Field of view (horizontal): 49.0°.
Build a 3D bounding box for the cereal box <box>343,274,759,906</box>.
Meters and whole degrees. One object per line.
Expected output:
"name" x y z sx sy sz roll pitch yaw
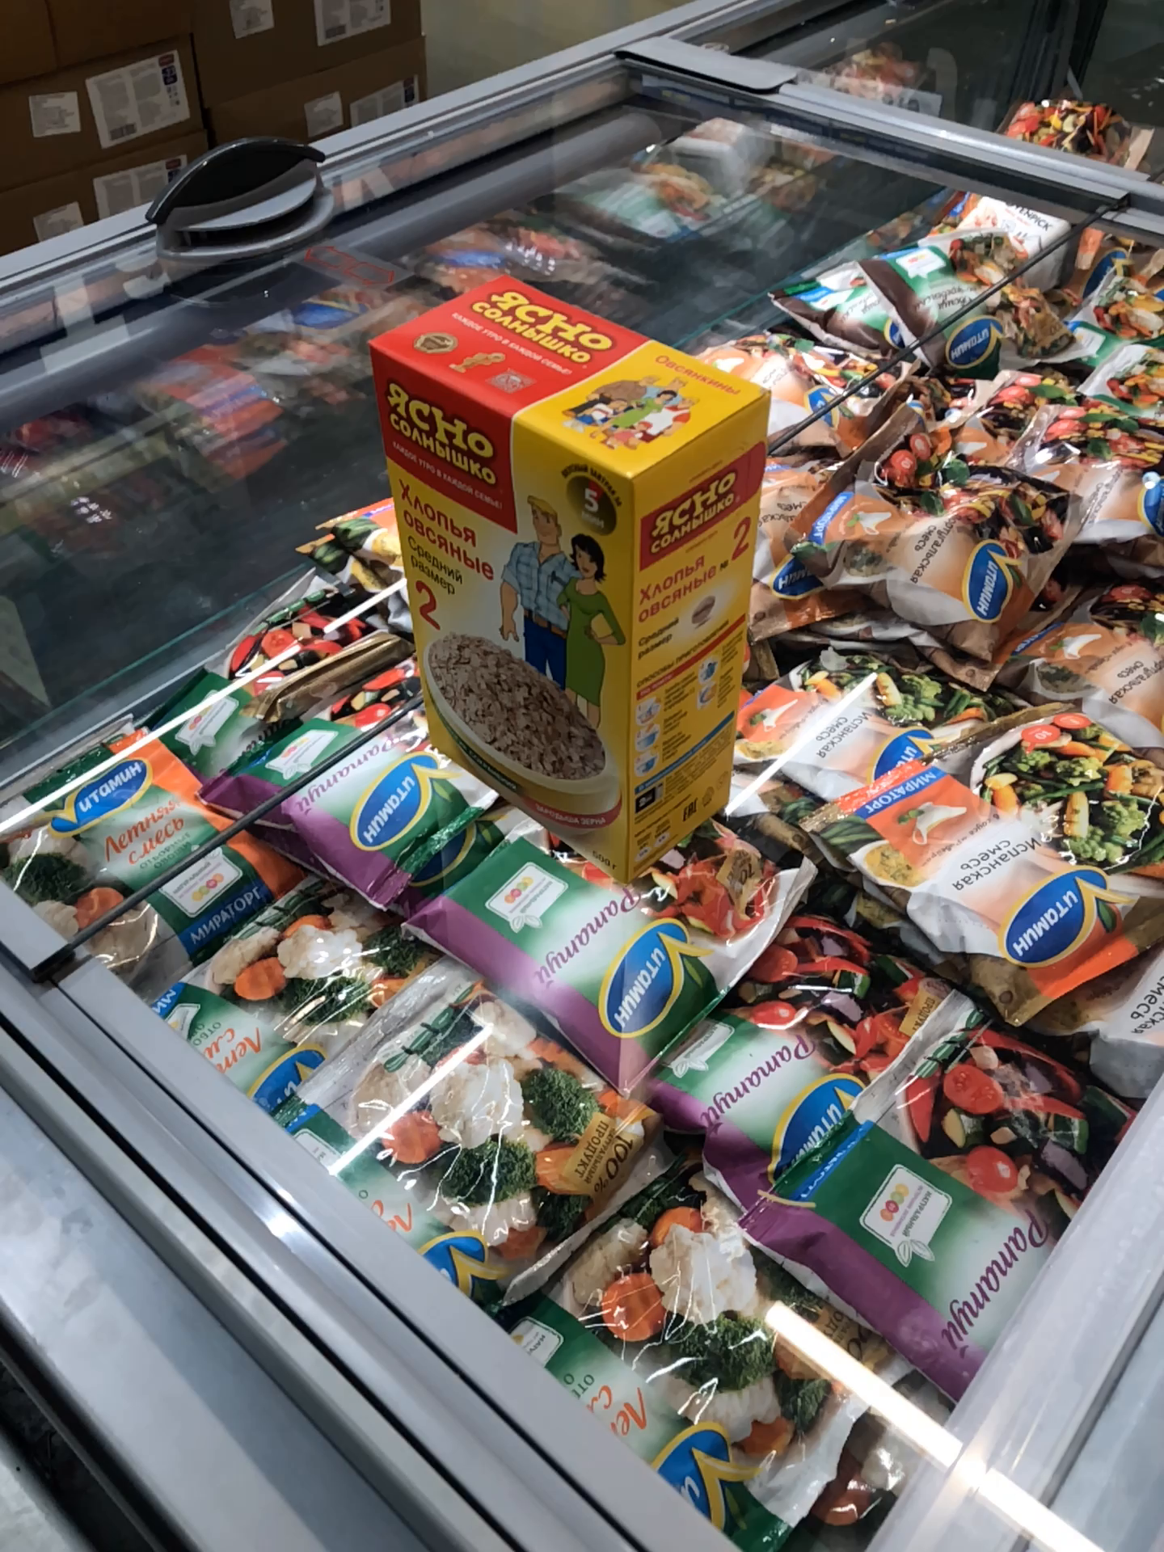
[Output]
"cereal box" -0.009 -0.064 0.485 0.120 0.199 0.070 34 56 29
